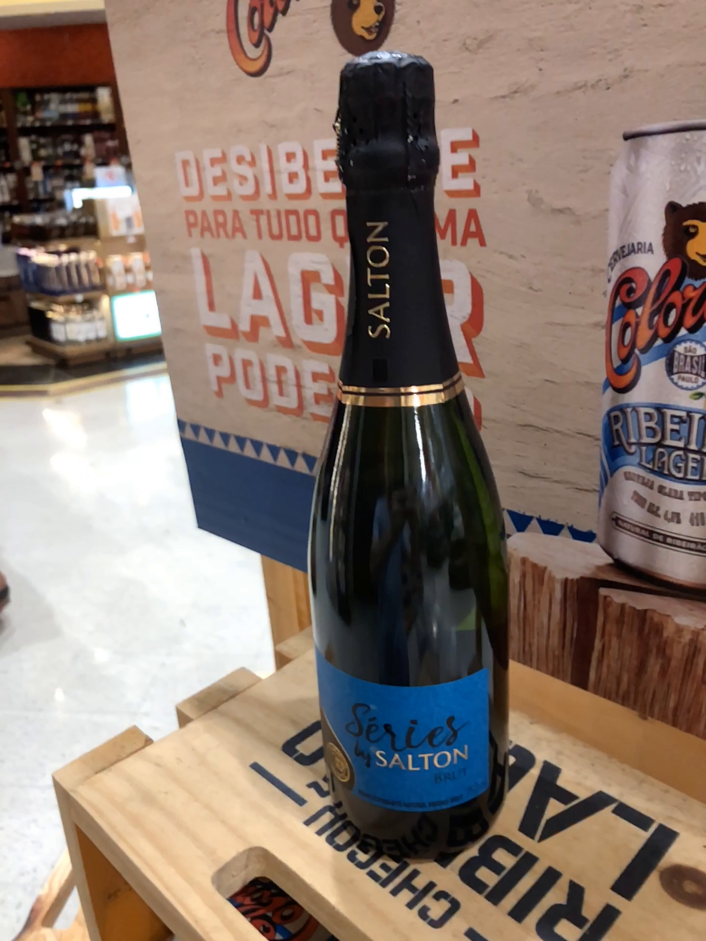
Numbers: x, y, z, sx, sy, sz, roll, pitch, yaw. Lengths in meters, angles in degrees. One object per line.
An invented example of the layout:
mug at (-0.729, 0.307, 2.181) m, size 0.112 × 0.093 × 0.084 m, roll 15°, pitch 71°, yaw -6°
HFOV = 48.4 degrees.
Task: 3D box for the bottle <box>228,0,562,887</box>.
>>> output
bottle at (0.026, -0.001, 0.304) m, size 0.090 × 0.318 × 0.080 m, roll 3°, pitch 21°, yaw 15°
